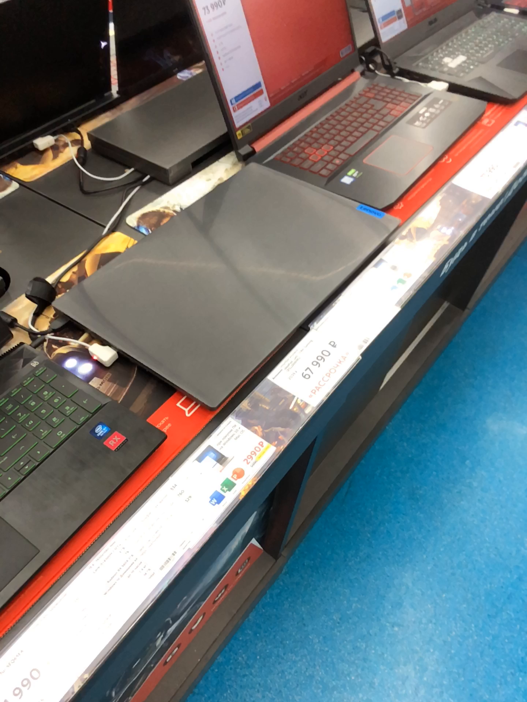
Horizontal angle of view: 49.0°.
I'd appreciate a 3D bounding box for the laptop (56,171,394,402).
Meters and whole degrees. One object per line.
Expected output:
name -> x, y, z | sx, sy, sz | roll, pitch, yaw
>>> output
laptop -> -0.039, -0.119, 0.783 | 0.269, 0.002, 0.390 | 28, 54, 25
